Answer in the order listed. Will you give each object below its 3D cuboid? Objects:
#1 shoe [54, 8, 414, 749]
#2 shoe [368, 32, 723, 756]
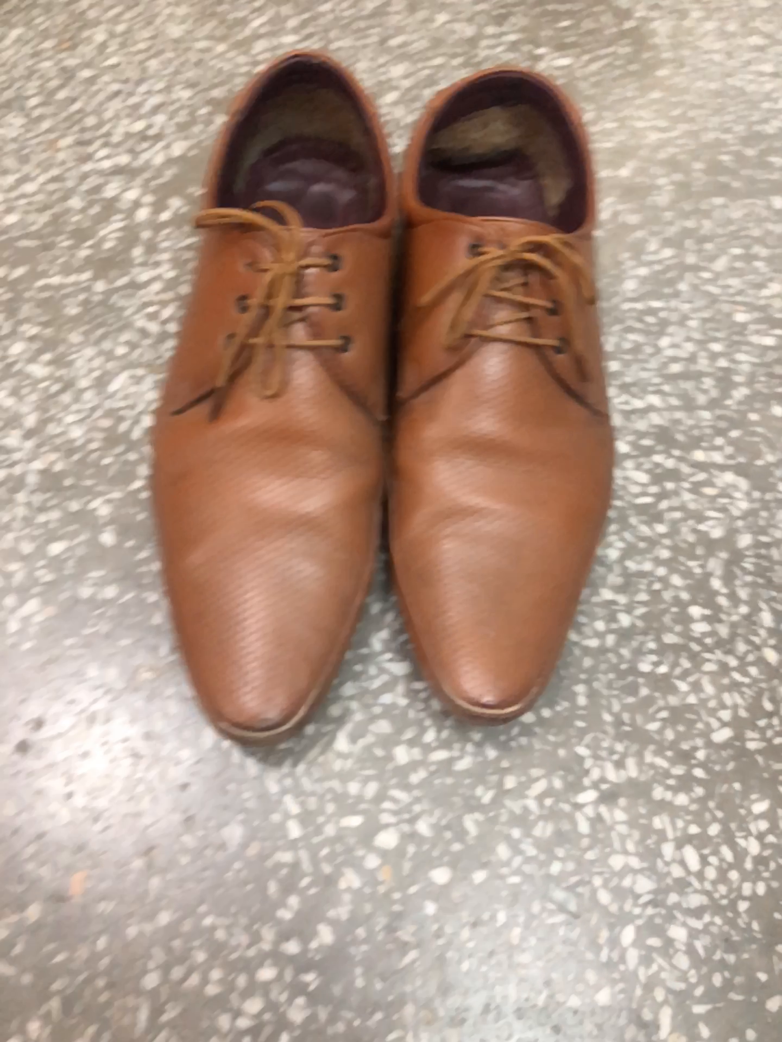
[{"bbox_3d":[-0.050,-0.058,0.369,0.105,0.118,0.285,3,68,-4],"label":"shoe"},{"bbox_3d":[0.049,-0.053,0.378,0.105,0.118,0.285,3,68,-4],"label":"shoe"}]
